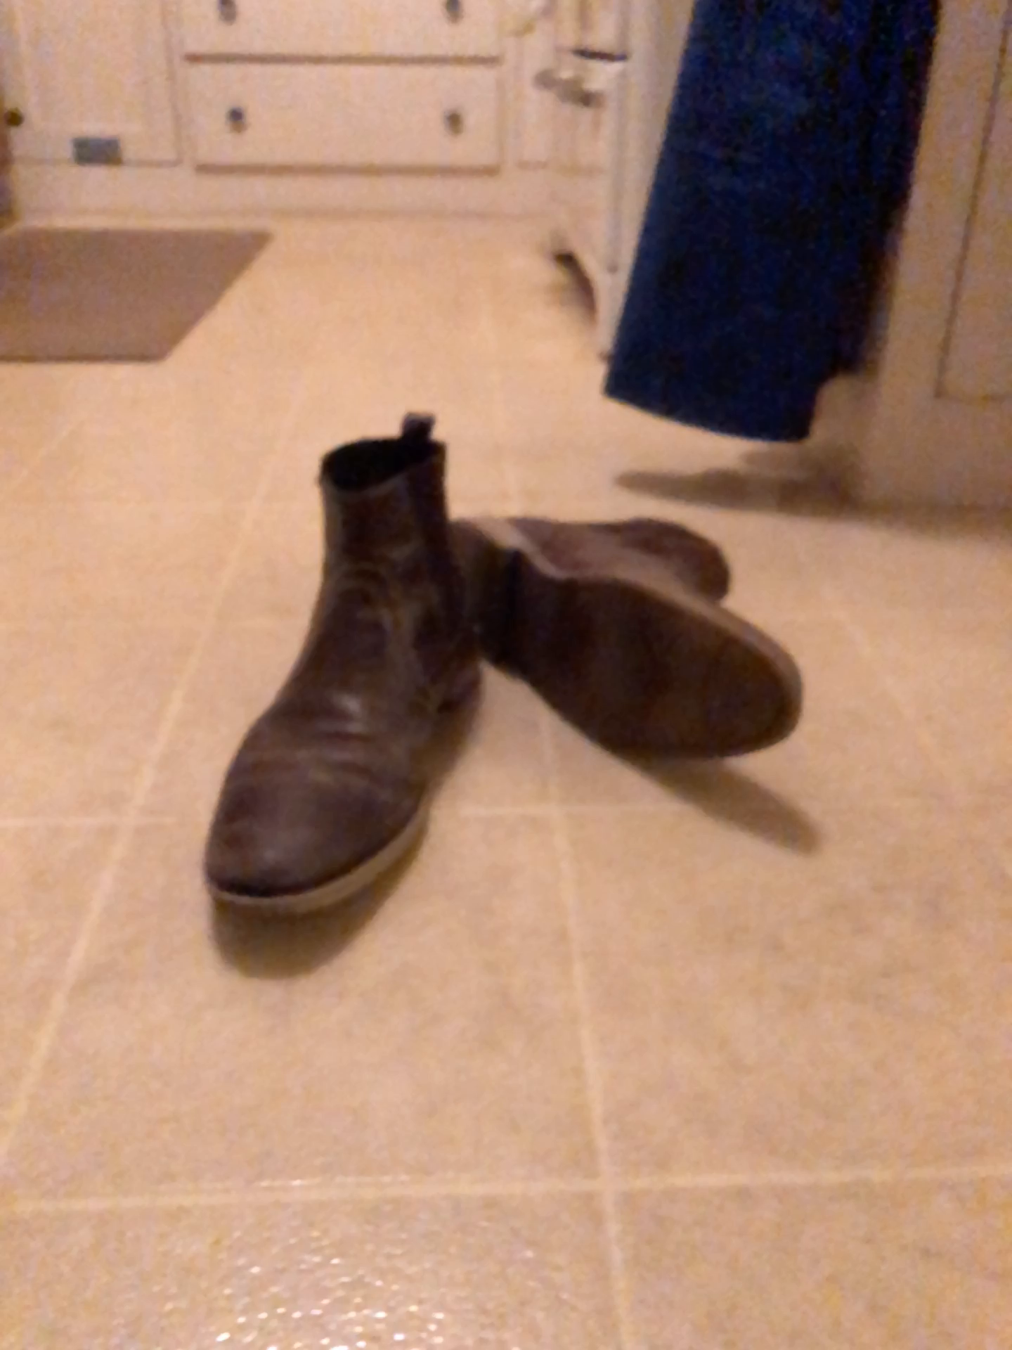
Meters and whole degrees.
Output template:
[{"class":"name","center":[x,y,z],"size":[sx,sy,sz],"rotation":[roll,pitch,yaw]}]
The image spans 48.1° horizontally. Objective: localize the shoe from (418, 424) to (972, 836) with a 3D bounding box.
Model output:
[{"class":"shoe","center":[0.094,-0.051,0.706],"size":[0.161,0.111,0.314],"rotation":[-16,33,-30]}]

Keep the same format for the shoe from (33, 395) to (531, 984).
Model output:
[{"class":"shoe","center":[-0.084,-0.020,0.592],"size":[0.111,0.160,0.315],"rotation":[9,30,14]}]
